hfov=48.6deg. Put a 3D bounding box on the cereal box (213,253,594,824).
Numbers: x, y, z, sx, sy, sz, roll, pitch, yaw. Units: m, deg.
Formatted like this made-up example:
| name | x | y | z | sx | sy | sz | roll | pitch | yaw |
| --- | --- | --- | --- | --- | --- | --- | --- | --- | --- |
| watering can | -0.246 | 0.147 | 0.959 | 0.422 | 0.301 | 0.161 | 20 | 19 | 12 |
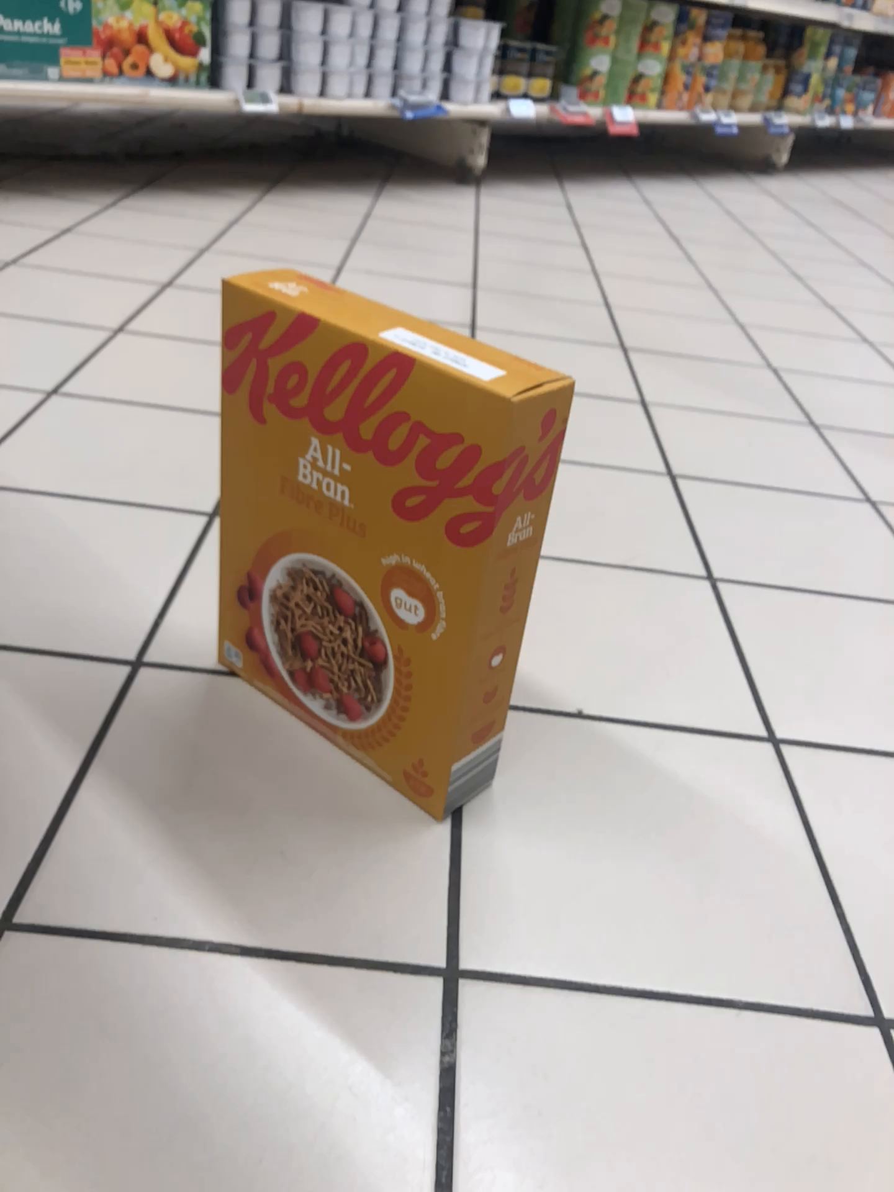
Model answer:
| name | x | y | z | sx | sy | sz | roll | pitch | yaw |
| --- | --- | --- | --- | --- | --- | --- | --- | --- | --- |
| cereal box | -0.040 | -0.034 | 0.522 | 0.190 | 0.239 | 0.060 | 29 | 36 | 32 |
